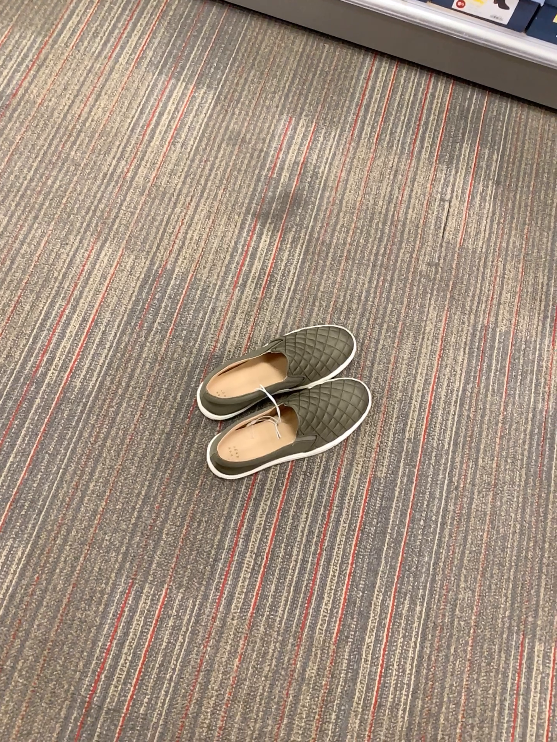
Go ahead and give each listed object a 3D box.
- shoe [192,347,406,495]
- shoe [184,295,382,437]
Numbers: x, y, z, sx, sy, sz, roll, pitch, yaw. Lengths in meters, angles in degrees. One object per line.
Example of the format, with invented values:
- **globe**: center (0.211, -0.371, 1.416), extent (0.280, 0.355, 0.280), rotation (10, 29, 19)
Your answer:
- **shoe**: center (0.025, 0.077, 0.861), extent (0.290, 0.130, 0.100), rotation (-20, 74, -14)
- **shoe**: center (0.004, -0.008, 0.917), extent (0.290, 0.110, 0.100), rotation (-22, 75, -15)
